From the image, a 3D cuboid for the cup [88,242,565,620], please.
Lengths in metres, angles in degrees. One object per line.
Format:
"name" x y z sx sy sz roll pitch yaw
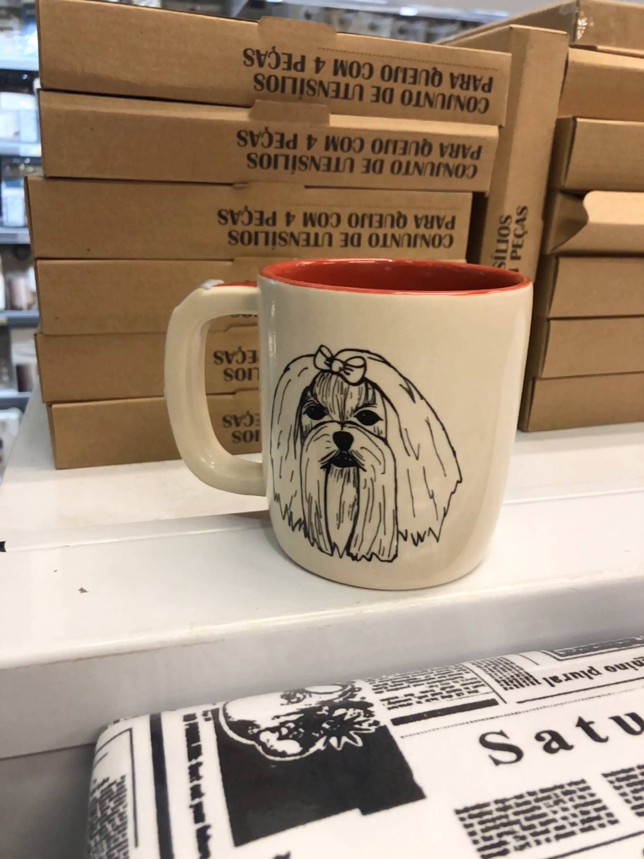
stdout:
"cup" 0.004 -0.009 0.236 0.120 0.089 0.091 4 19 8
